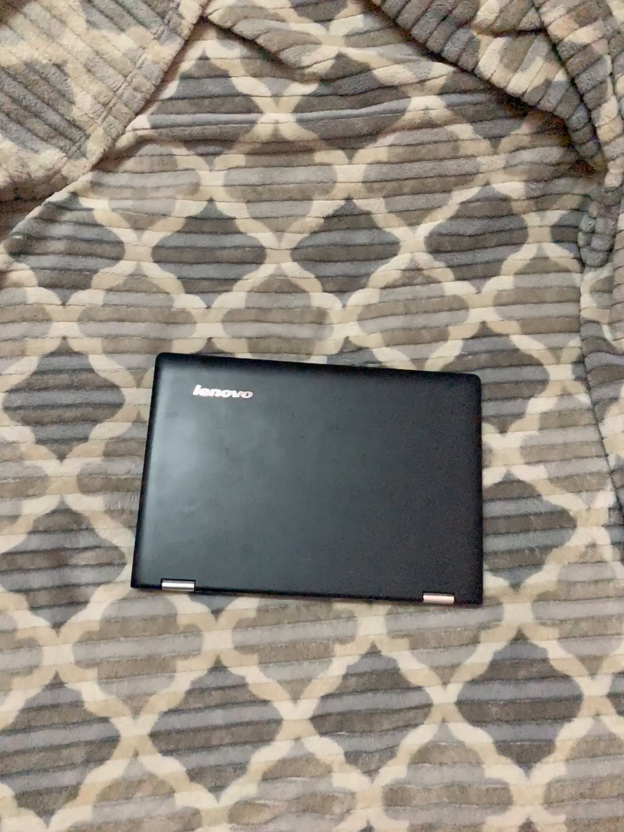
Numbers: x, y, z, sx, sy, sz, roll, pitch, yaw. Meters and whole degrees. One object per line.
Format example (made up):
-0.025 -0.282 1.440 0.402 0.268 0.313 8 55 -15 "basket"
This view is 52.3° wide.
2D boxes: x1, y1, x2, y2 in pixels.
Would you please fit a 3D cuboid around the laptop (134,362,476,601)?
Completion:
0.002 0.065 0.657 0.338 0.003 0.228 4 78 -4 "laptop"
